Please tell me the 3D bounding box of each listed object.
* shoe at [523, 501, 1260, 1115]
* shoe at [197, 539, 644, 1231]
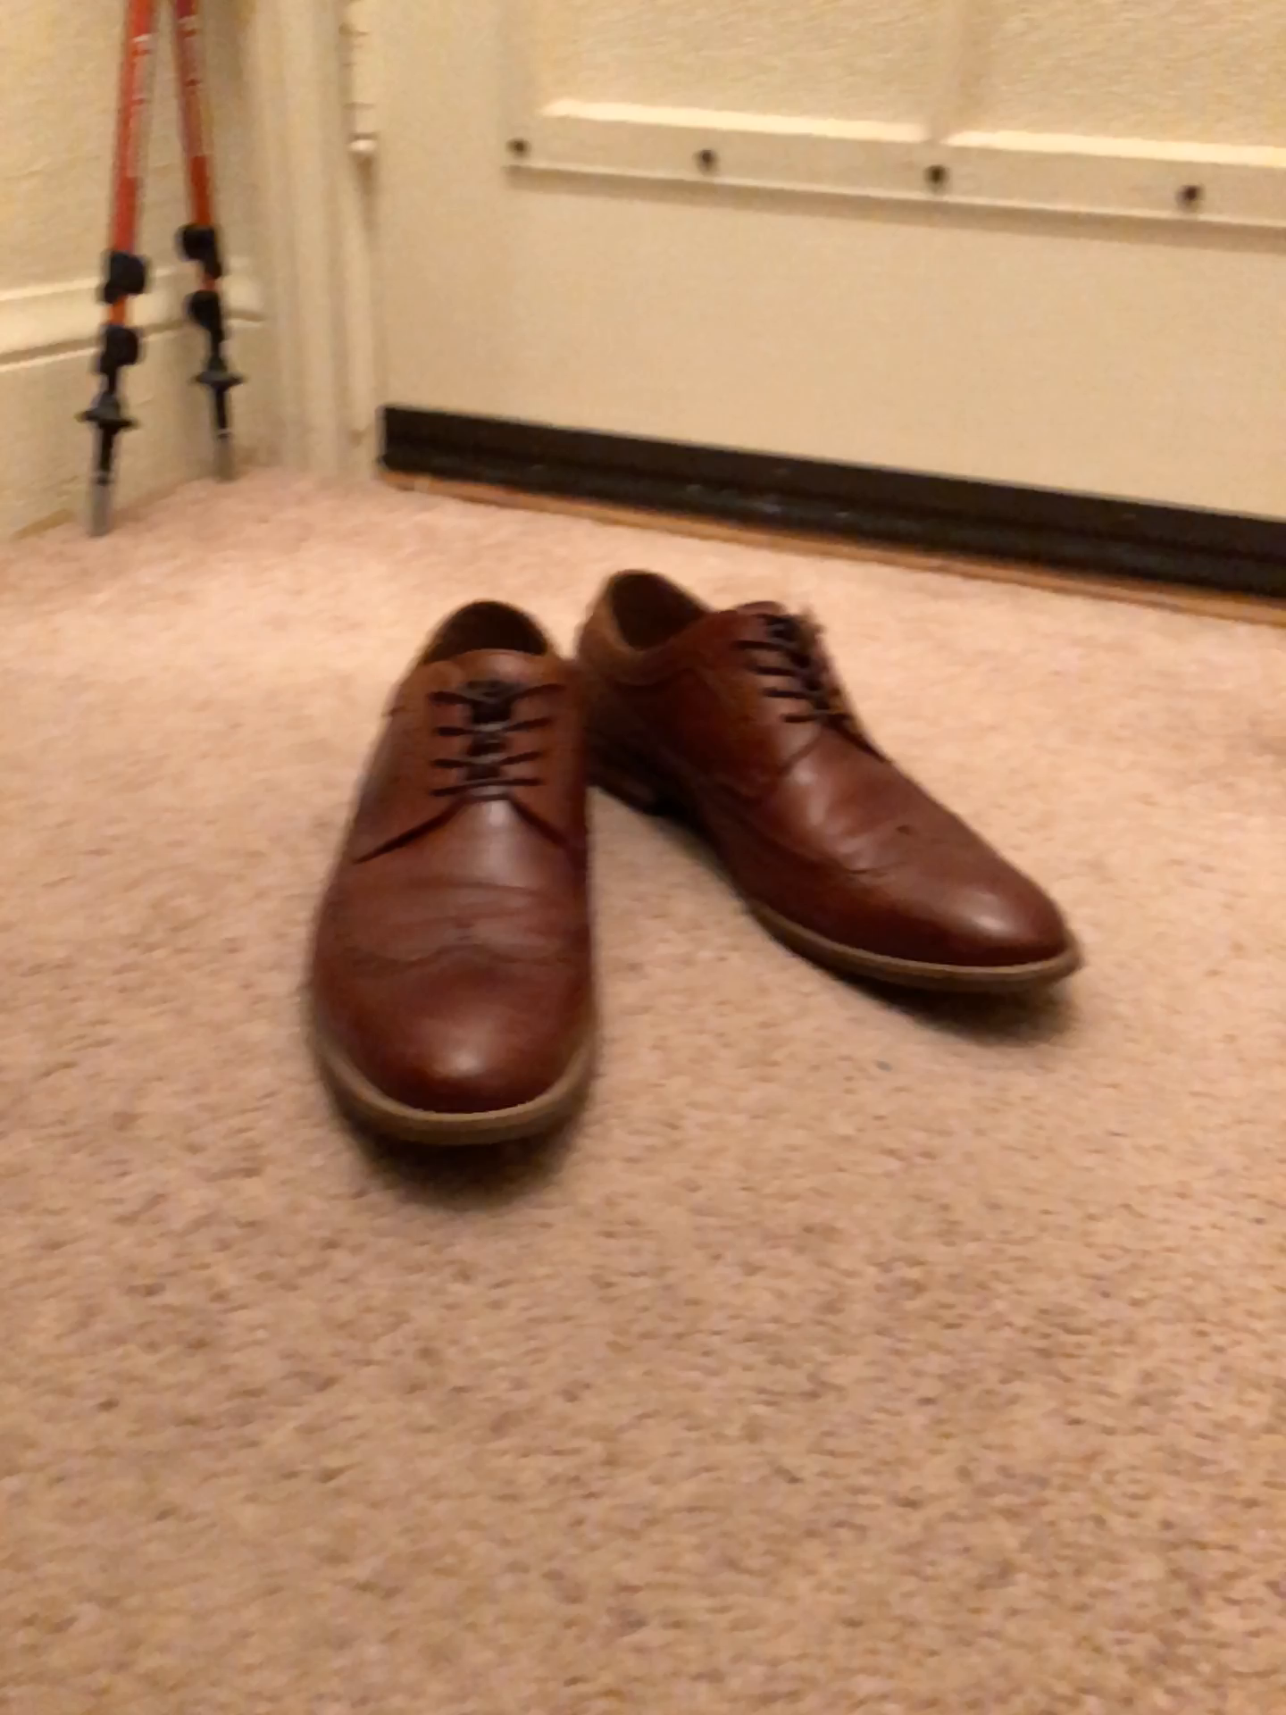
[{"bbox_3d":[0.074,-0.045,0.589,0.115,0.114,0.311,-14,34,-29],"label":"shoe"},{"bbox_3d":[-0.068,-0.015,0.532,0.115,0.114,0.312,1,29,-4],"label":"shoe"}]
